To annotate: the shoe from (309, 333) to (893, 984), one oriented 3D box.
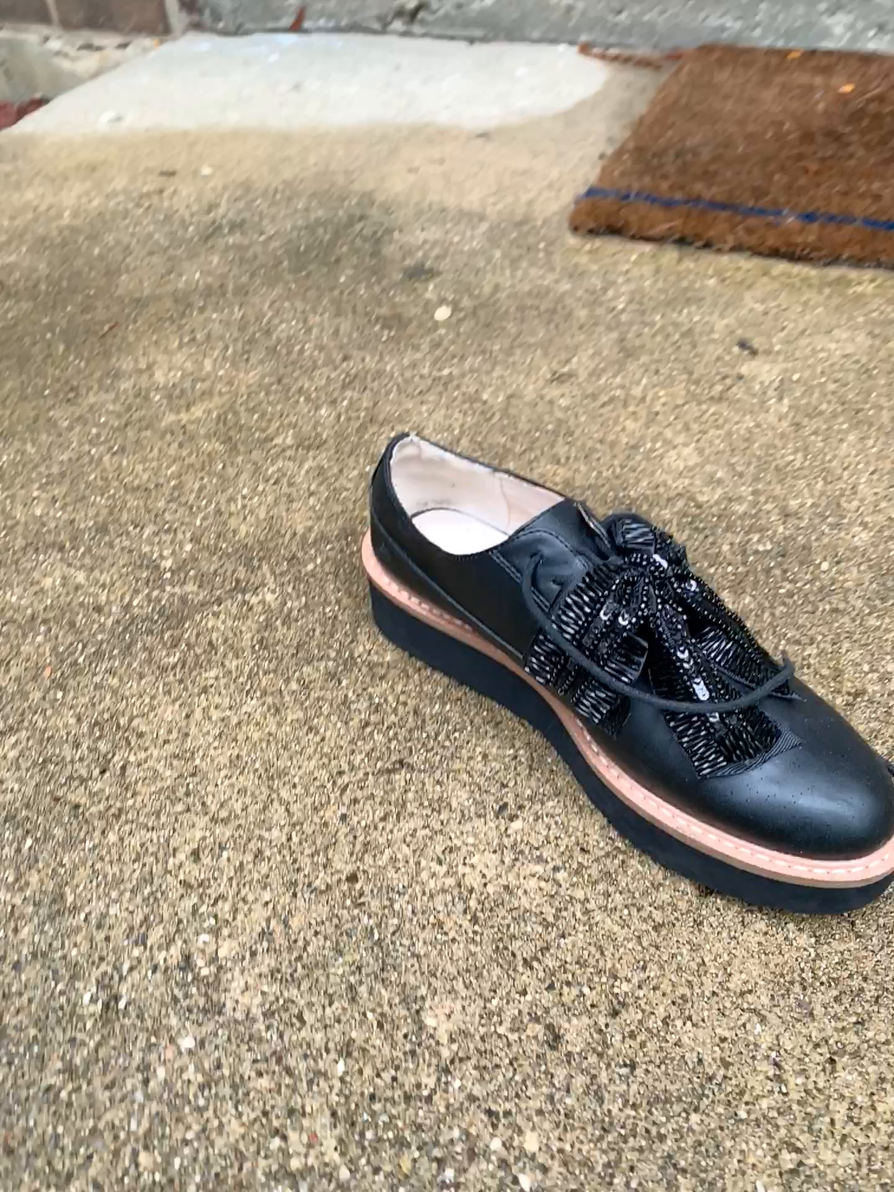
[{"bbox_3d":[0.078,0.009,0.379,0.258,0.121,0.106,32,55,30],"label":"shoe"}]
